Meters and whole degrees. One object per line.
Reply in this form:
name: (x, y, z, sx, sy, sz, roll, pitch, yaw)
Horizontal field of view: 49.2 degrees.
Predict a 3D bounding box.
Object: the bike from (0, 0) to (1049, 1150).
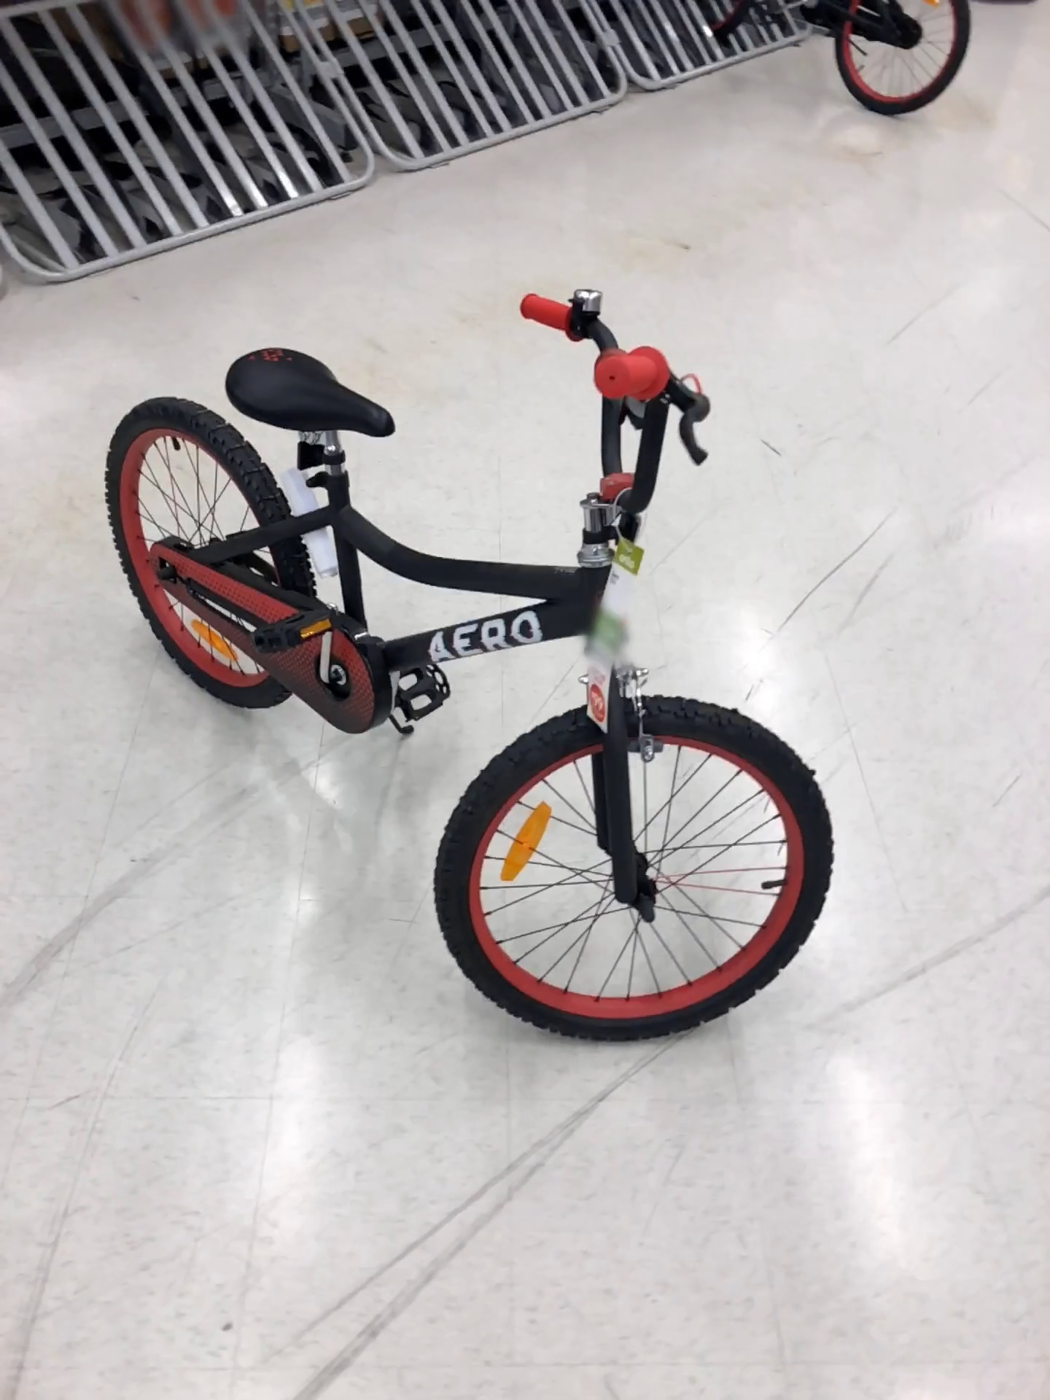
bike: (-0.111, -0.221, 1.458, 1.248, 0.924, 0.627, 28, 50, 21)
